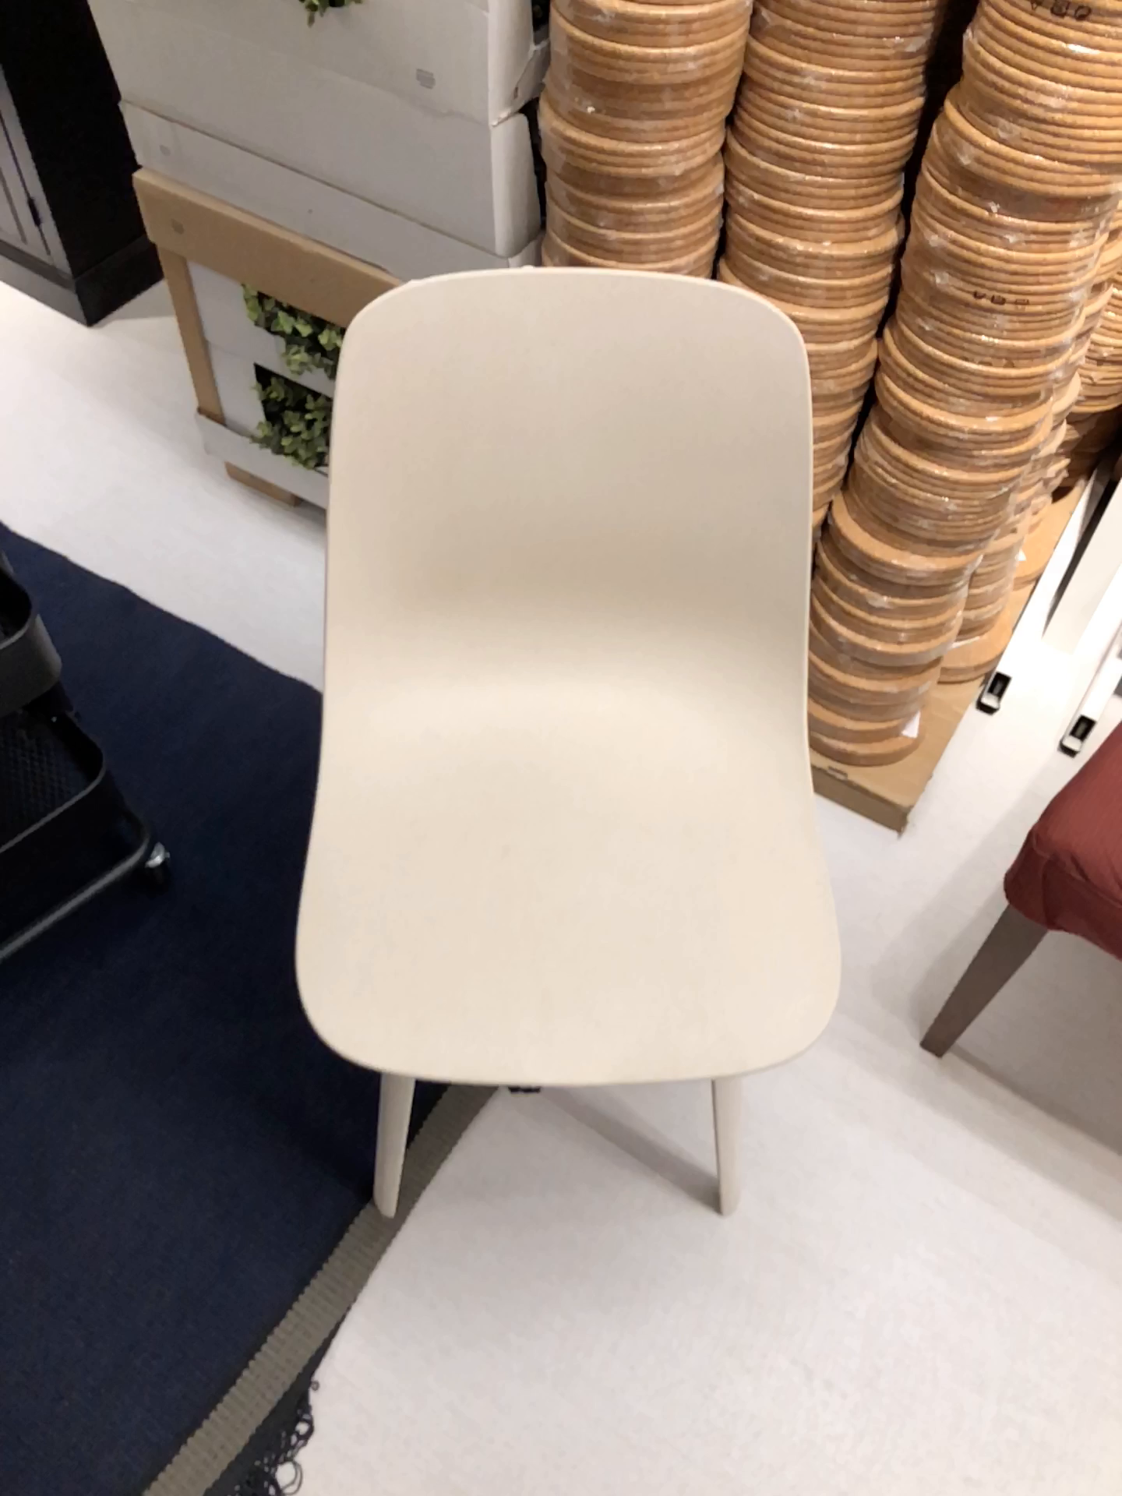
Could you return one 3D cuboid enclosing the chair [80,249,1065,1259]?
[{"bbox_3d":[0.002,0.063,0.994,0.450,0.697,0.492,-1,55,-1],"label":"chair"}]
